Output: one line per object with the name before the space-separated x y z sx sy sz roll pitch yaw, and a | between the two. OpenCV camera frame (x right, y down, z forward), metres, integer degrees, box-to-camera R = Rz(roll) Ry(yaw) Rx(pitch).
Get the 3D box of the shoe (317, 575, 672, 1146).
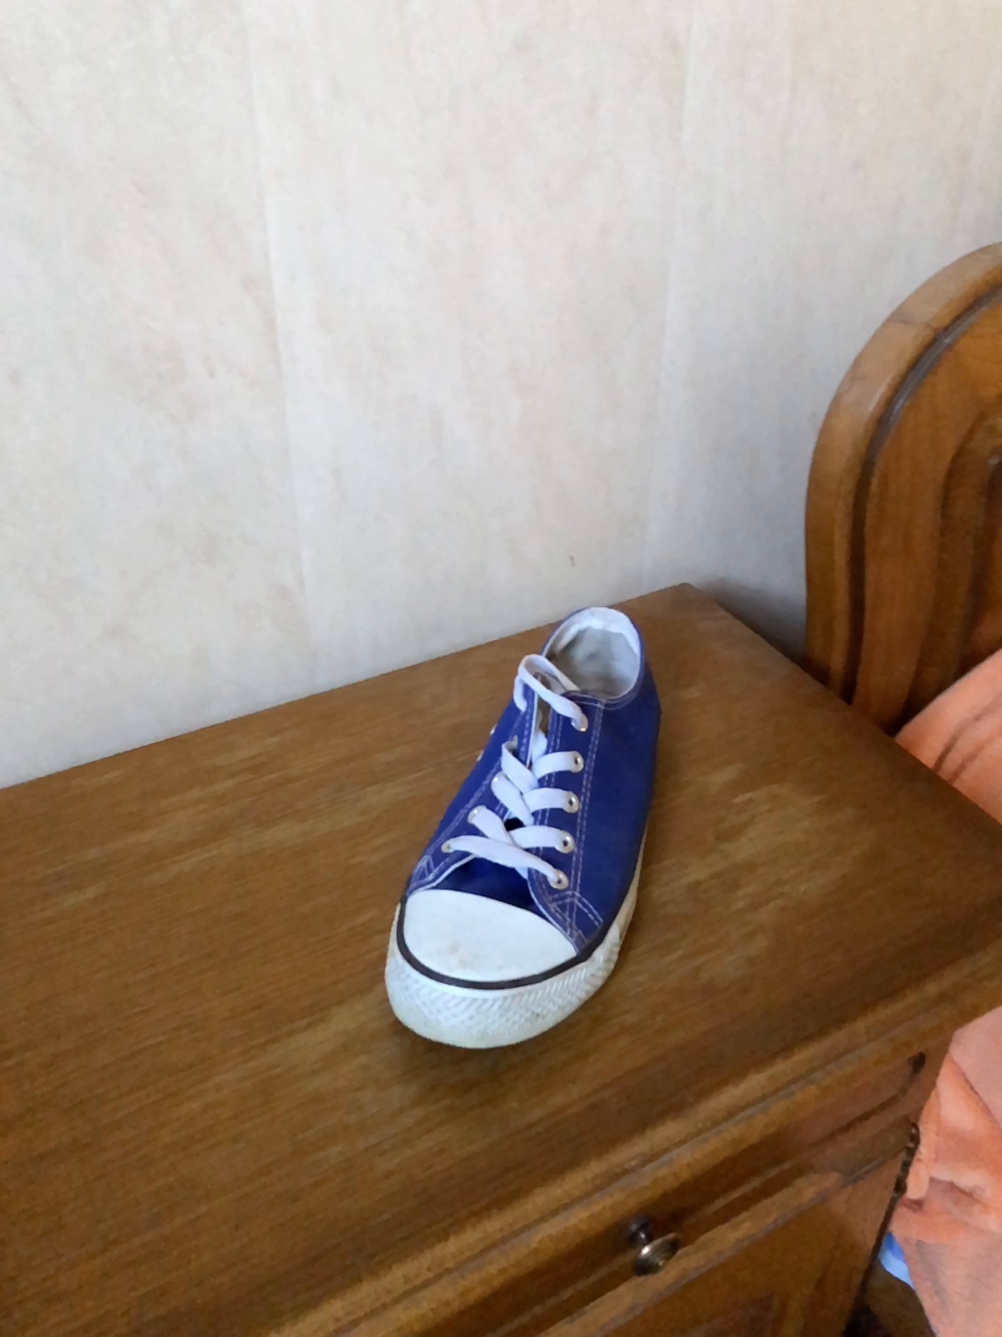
shoe | 0.013 0.064 0.500 0.090 0.089 0.262 8 34 12
